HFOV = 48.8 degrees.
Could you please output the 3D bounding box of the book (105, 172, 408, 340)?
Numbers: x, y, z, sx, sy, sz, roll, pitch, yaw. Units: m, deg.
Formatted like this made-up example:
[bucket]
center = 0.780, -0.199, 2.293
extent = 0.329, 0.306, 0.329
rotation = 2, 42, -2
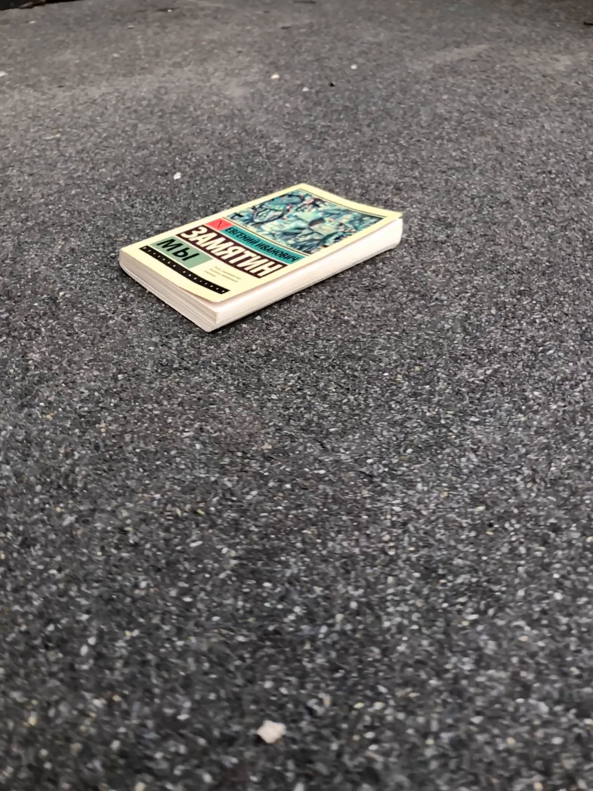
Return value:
[book]
center = -0.025, -0.111, 0.476
extent = 0.183, 0.027, 0.120
rotation = -31, 47, -31
